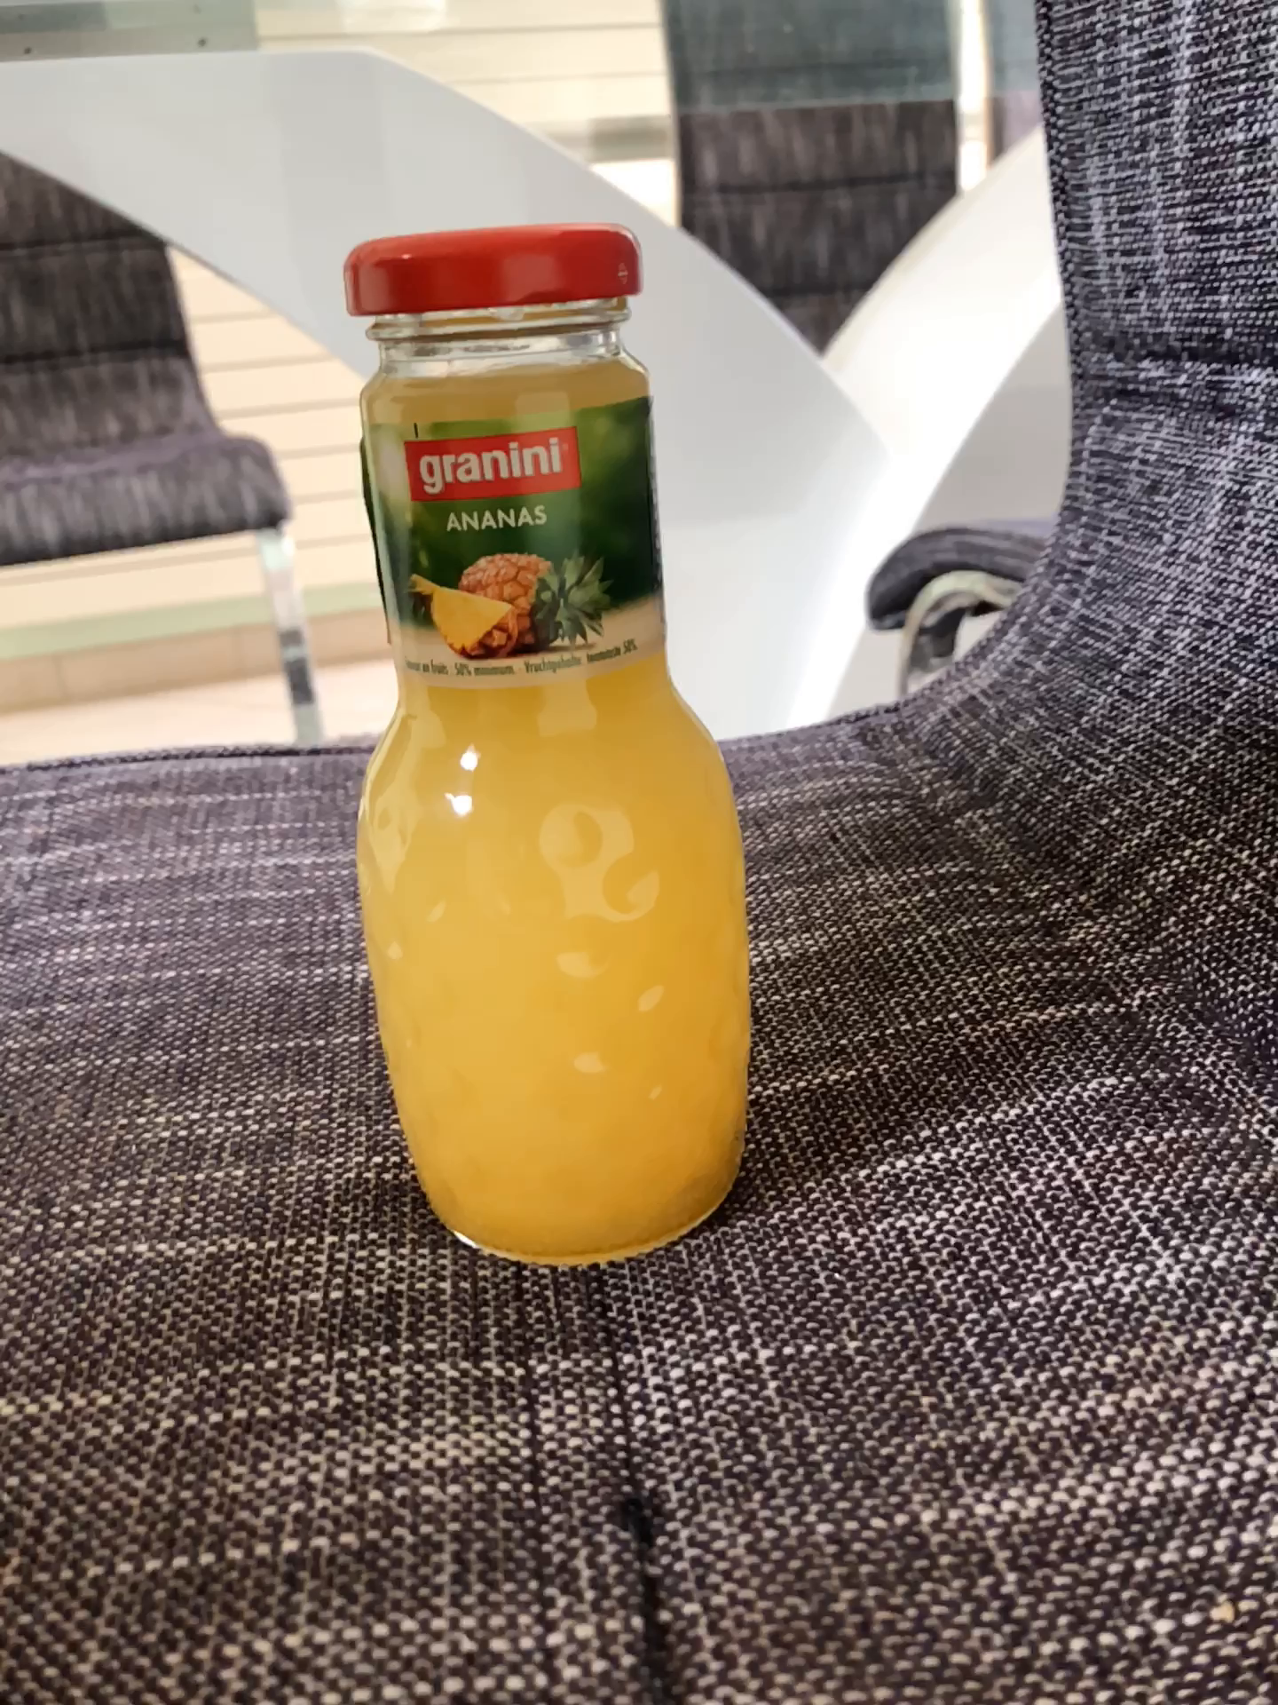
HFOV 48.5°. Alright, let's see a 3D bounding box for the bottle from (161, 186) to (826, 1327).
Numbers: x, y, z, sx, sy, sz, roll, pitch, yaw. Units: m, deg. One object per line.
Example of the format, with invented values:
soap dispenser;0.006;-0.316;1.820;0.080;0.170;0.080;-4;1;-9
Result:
bottle;-0.013;-0.014;0.217;0.070;0.149;0.070;-4;20;2
